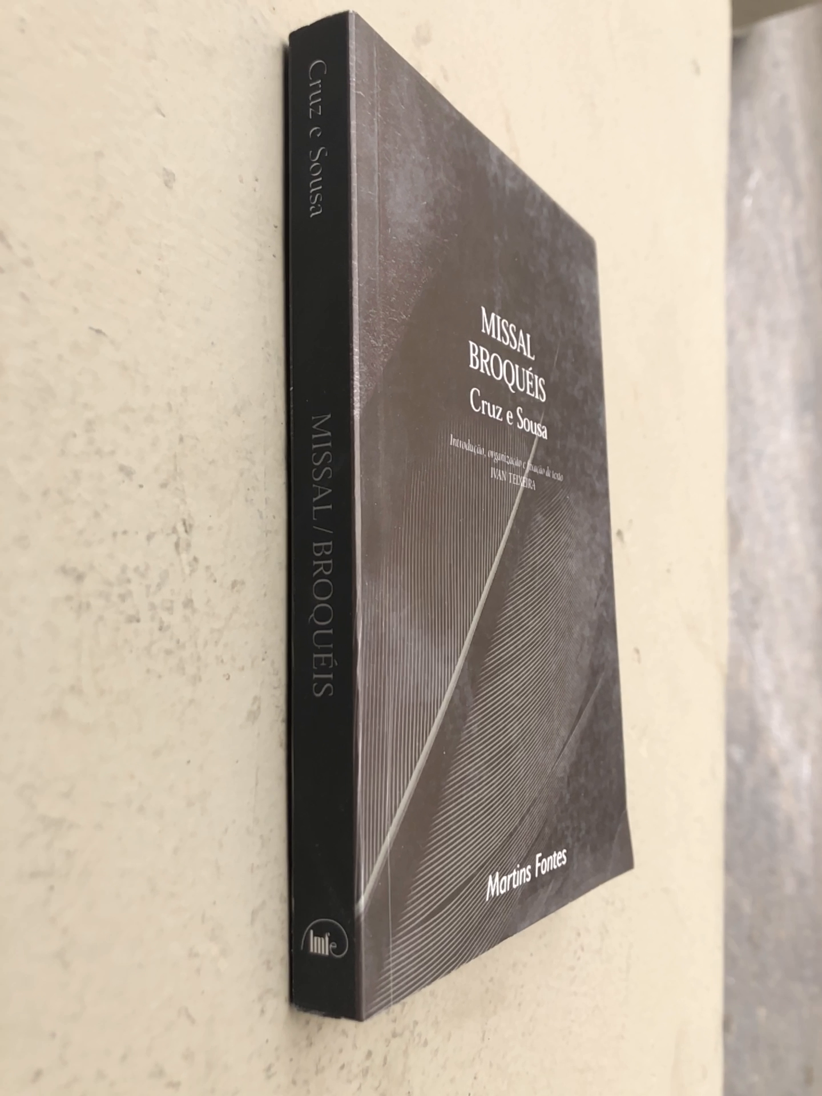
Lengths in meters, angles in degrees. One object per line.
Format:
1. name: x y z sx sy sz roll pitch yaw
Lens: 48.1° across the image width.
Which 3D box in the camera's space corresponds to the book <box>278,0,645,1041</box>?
1. book: 0.019 -0.007 0.205 0.129 0.016 0.173 9 78 -57
